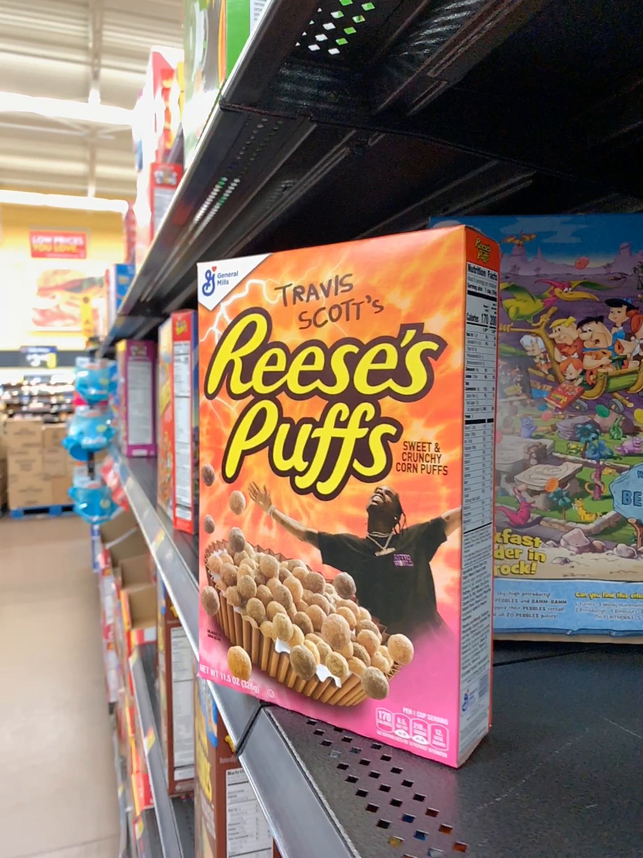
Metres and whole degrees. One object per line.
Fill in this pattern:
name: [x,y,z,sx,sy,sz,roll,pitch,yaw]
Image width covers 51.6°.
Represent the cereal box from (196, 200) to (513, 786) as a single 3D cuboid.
cereal box: [0.010,0.030,0.409,0.200,0.290,0.050,1,2,37]
